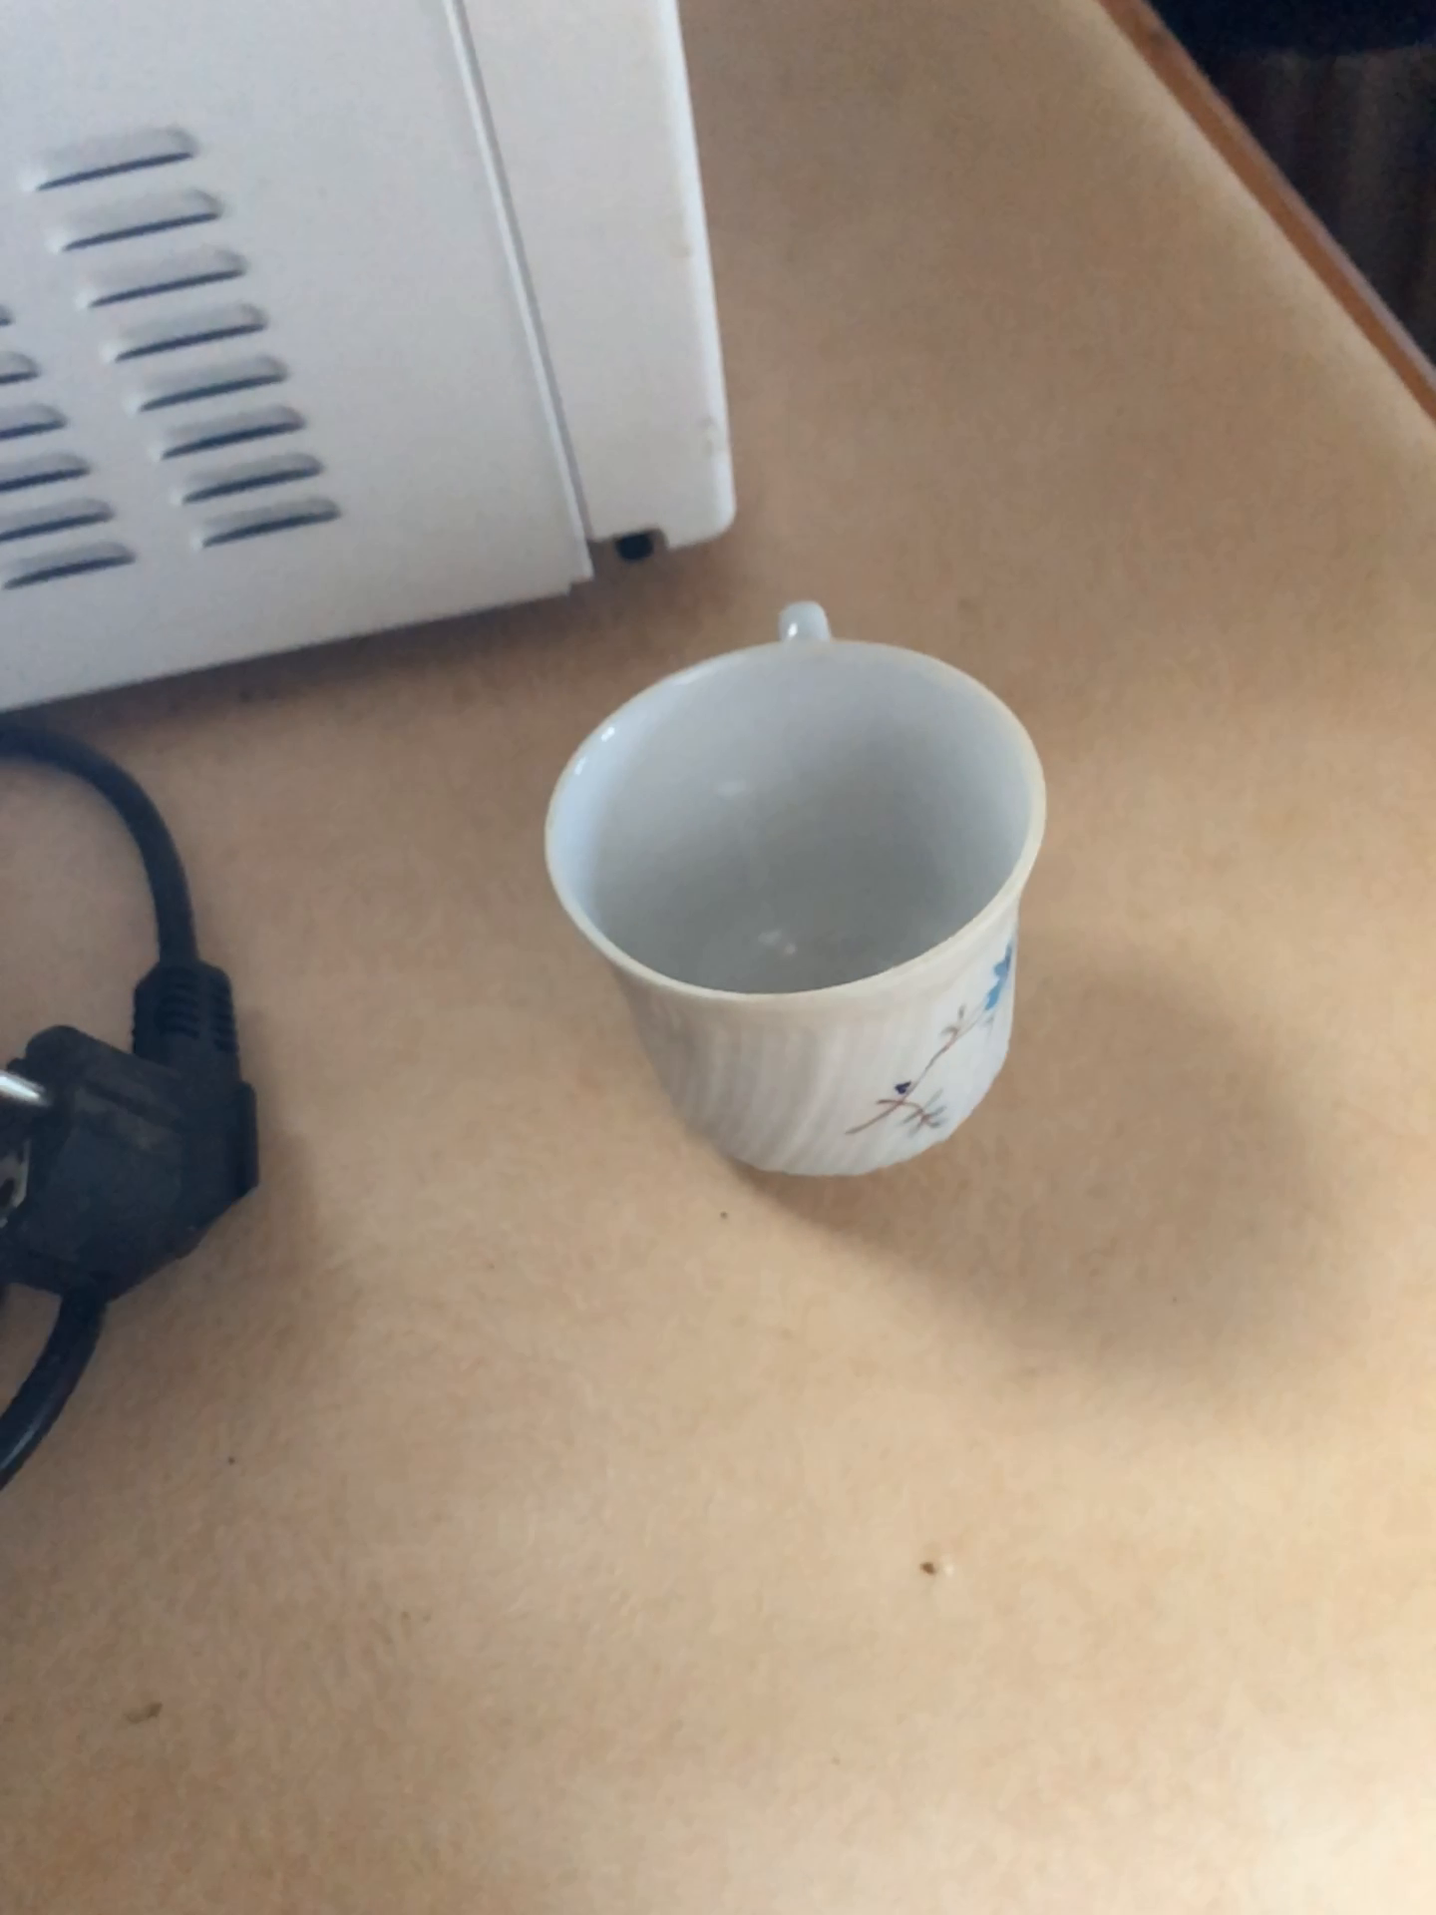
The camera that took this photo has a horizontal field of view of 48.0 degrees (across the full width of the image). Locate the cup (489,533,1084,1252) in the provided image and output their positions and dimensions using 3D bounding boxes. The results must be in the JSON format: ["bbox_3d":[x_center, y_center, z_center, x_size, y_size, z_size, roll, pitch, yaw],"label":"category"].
[{"bbox_3d":[0.013,-0.011,0.236,0.070,0.050,0.090,-4,50,8],"label":"cup"}]
